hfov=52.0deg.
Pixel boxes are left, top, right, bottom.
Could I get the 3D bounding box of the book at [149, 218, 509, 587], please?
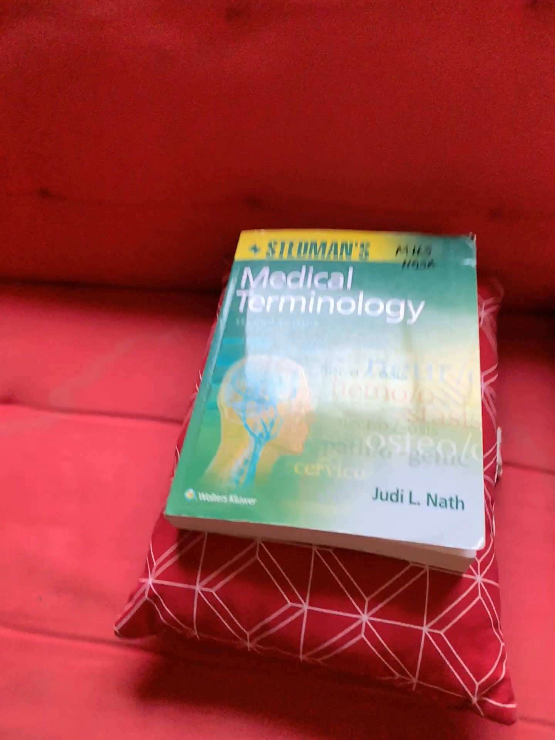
[{"bbox_3d":[0.054,0.001,0.473,0.240,0.040,0.301,5,59,9],"label":"book"}]
